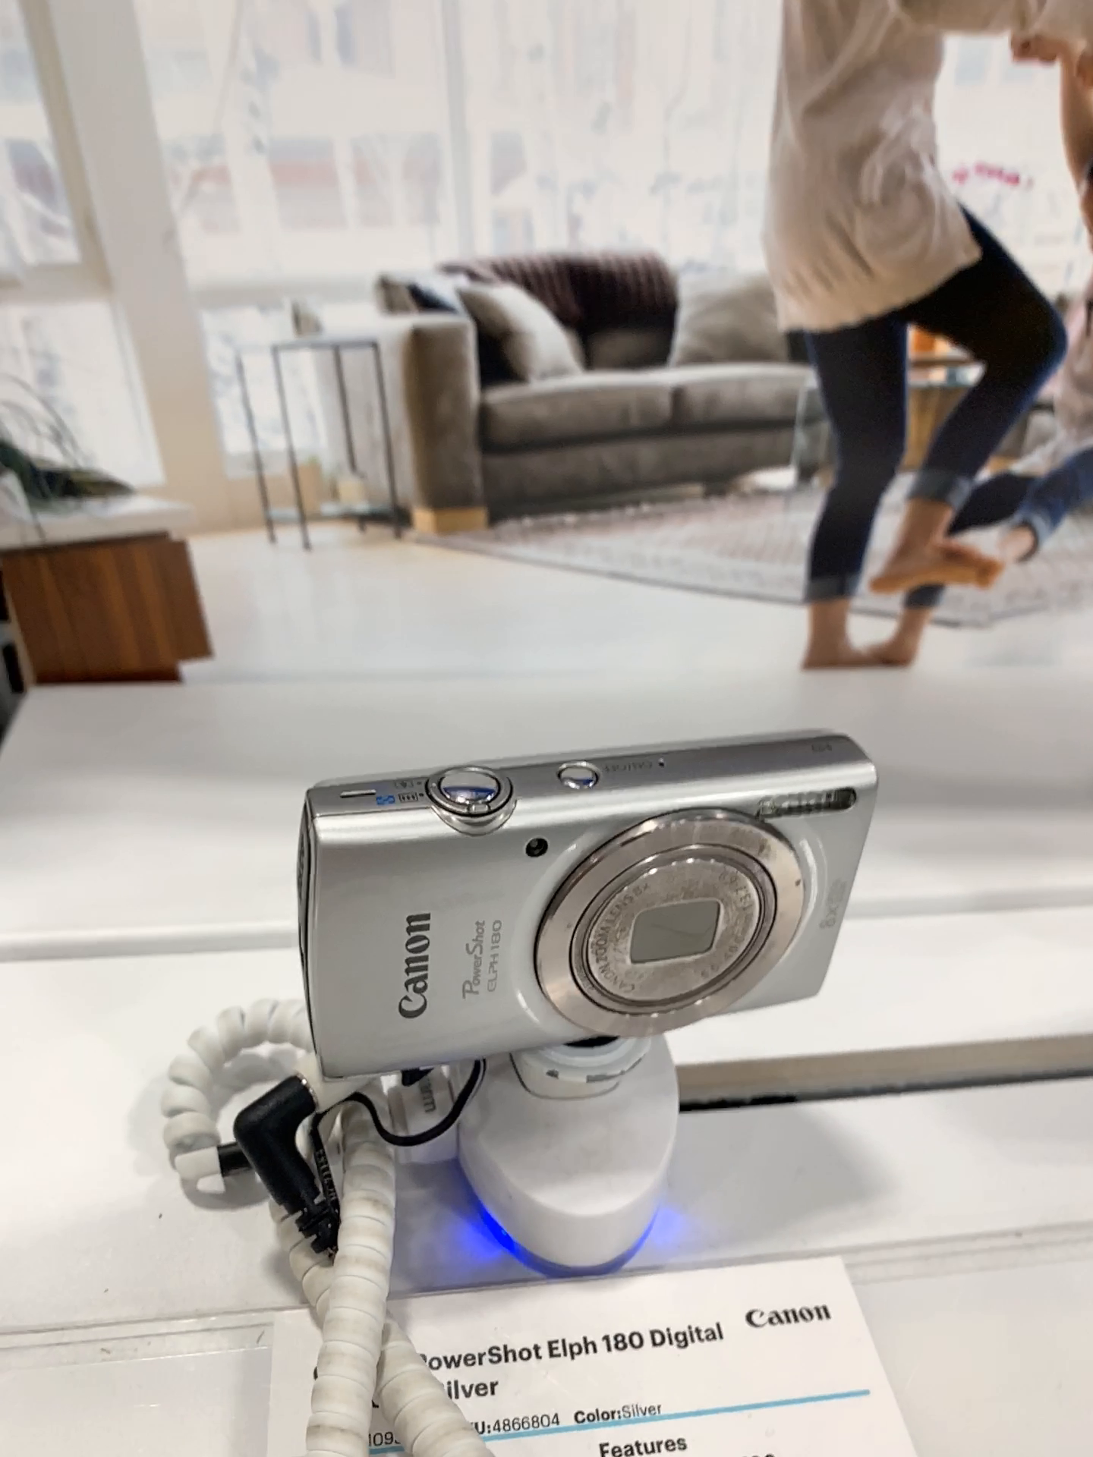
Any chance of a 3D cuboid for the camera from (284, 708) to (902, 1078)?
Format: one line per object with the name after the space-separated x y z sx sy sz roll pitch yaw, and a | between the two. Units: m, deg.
0.006 0.028 0.201 0.098 0.051 0.022 -6 38 -16 | camera
